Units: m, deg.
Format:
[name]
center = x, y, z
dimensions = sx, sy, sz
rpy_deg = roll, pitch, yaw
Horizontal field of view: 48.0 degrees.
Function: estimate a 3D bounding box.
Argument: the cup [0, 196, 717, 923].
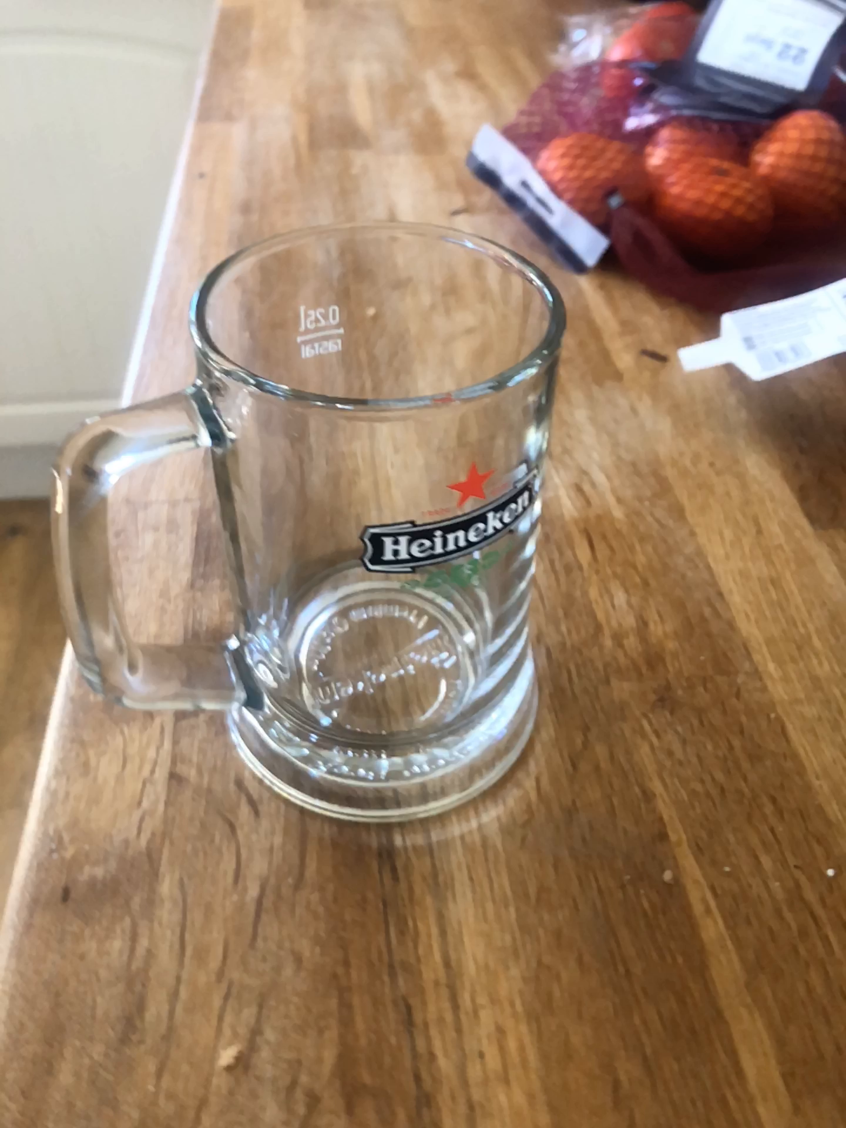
[cup]
center = -0.019, -0.007, 0.221
dimensions = 0.115, 0.109, 0.091
rpy_deg = -17, 45, -22
